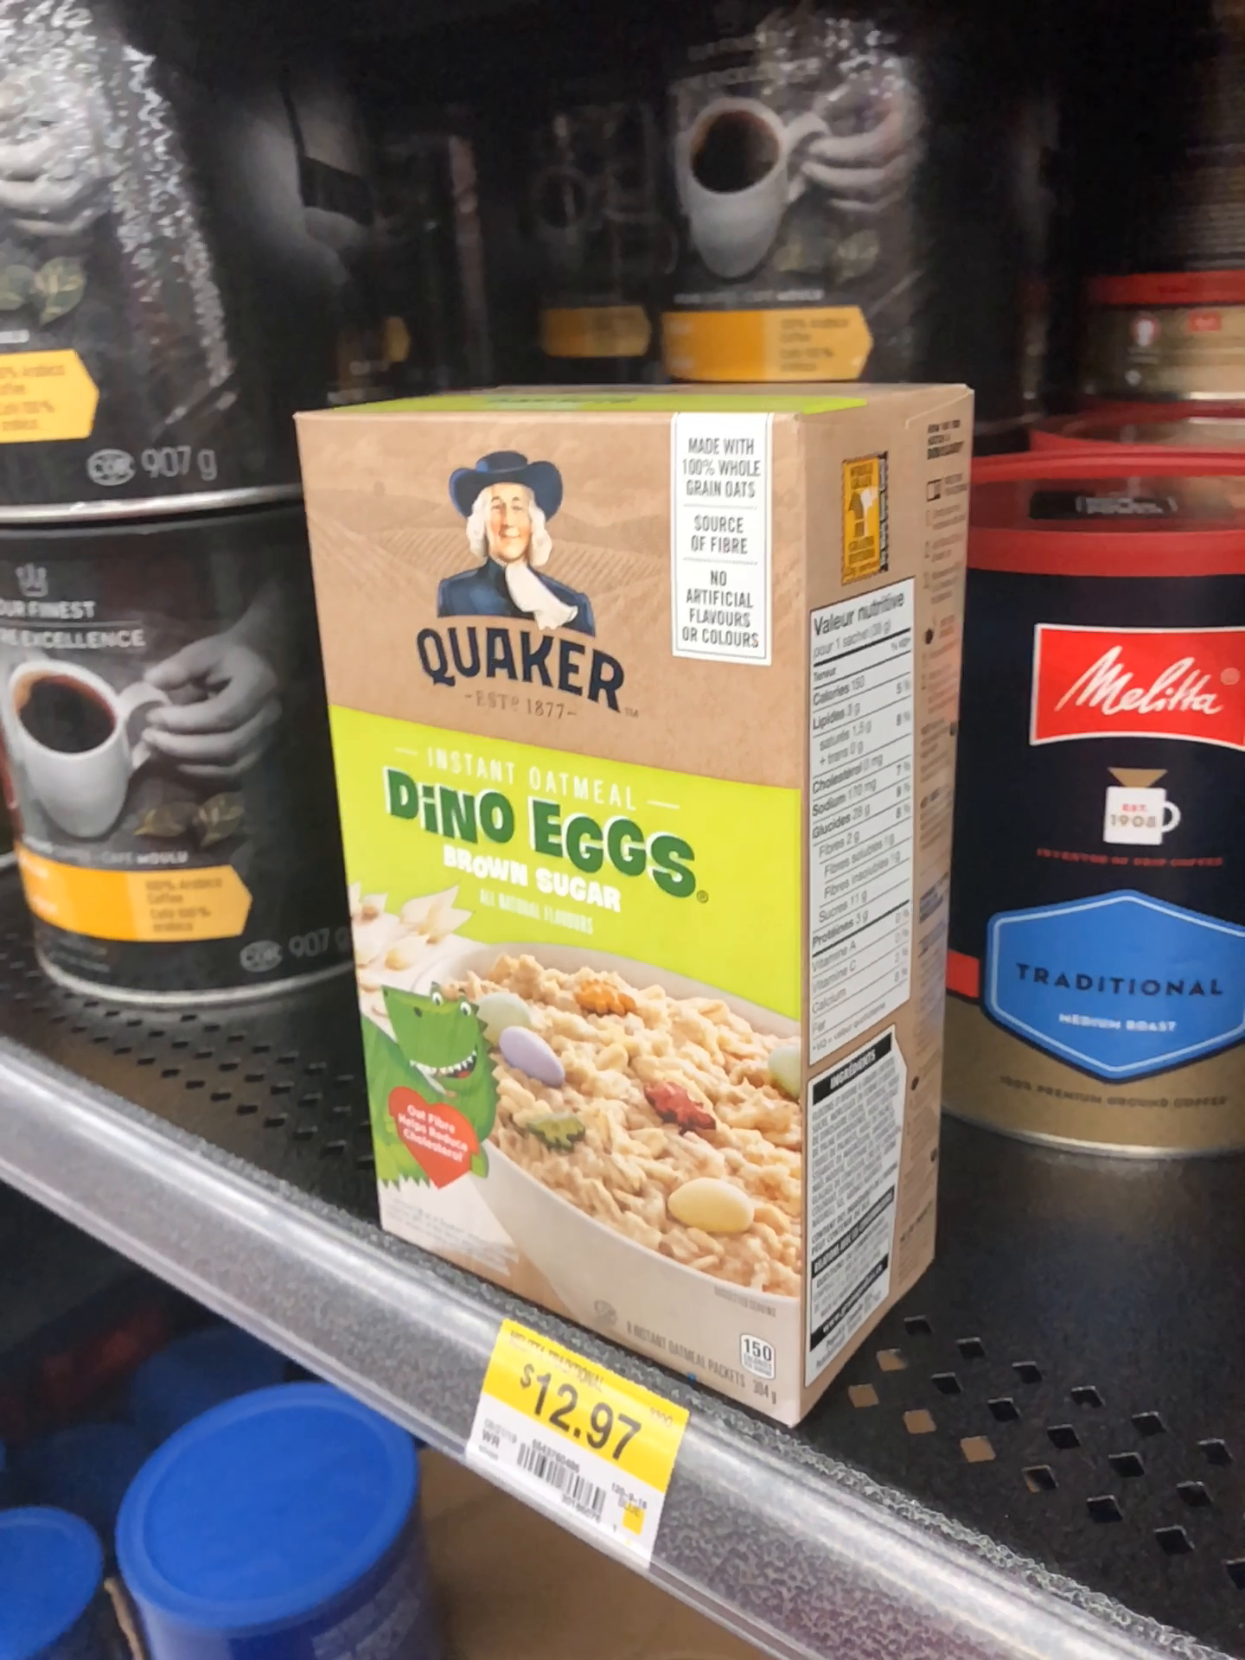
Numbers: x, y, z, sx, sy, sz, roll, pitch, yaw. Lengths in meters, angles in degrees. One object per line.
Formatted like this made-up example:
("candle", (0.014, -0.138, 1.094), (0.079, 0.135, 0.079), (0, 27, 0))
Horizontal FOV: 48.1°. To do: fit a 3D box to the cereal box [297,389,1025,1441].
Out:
("cereal box", (0.008, 0.007, 0.313), (0.130, 0.199, 0.070), (12, 23, 35))
